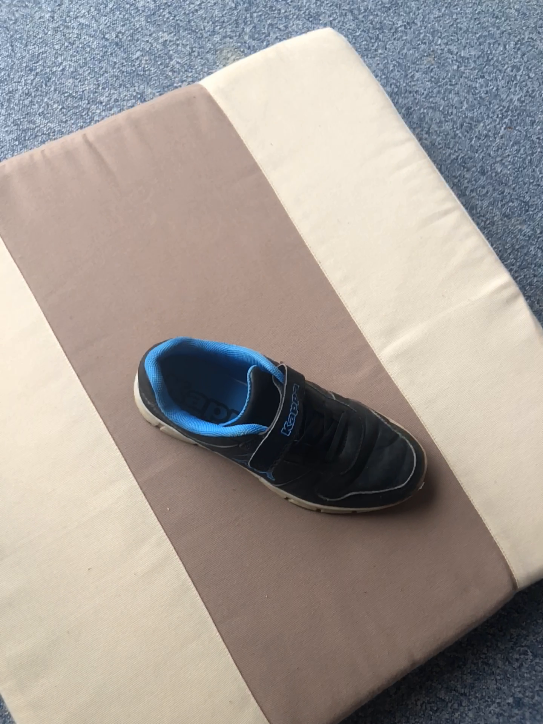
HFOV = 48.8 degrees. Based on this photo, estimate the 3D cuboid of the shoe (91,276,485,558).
[{"bbox_3d":[0.011,0.043,0.436,0.240,0.090,0.100,23,76,-1],"label":"shoe"}]
